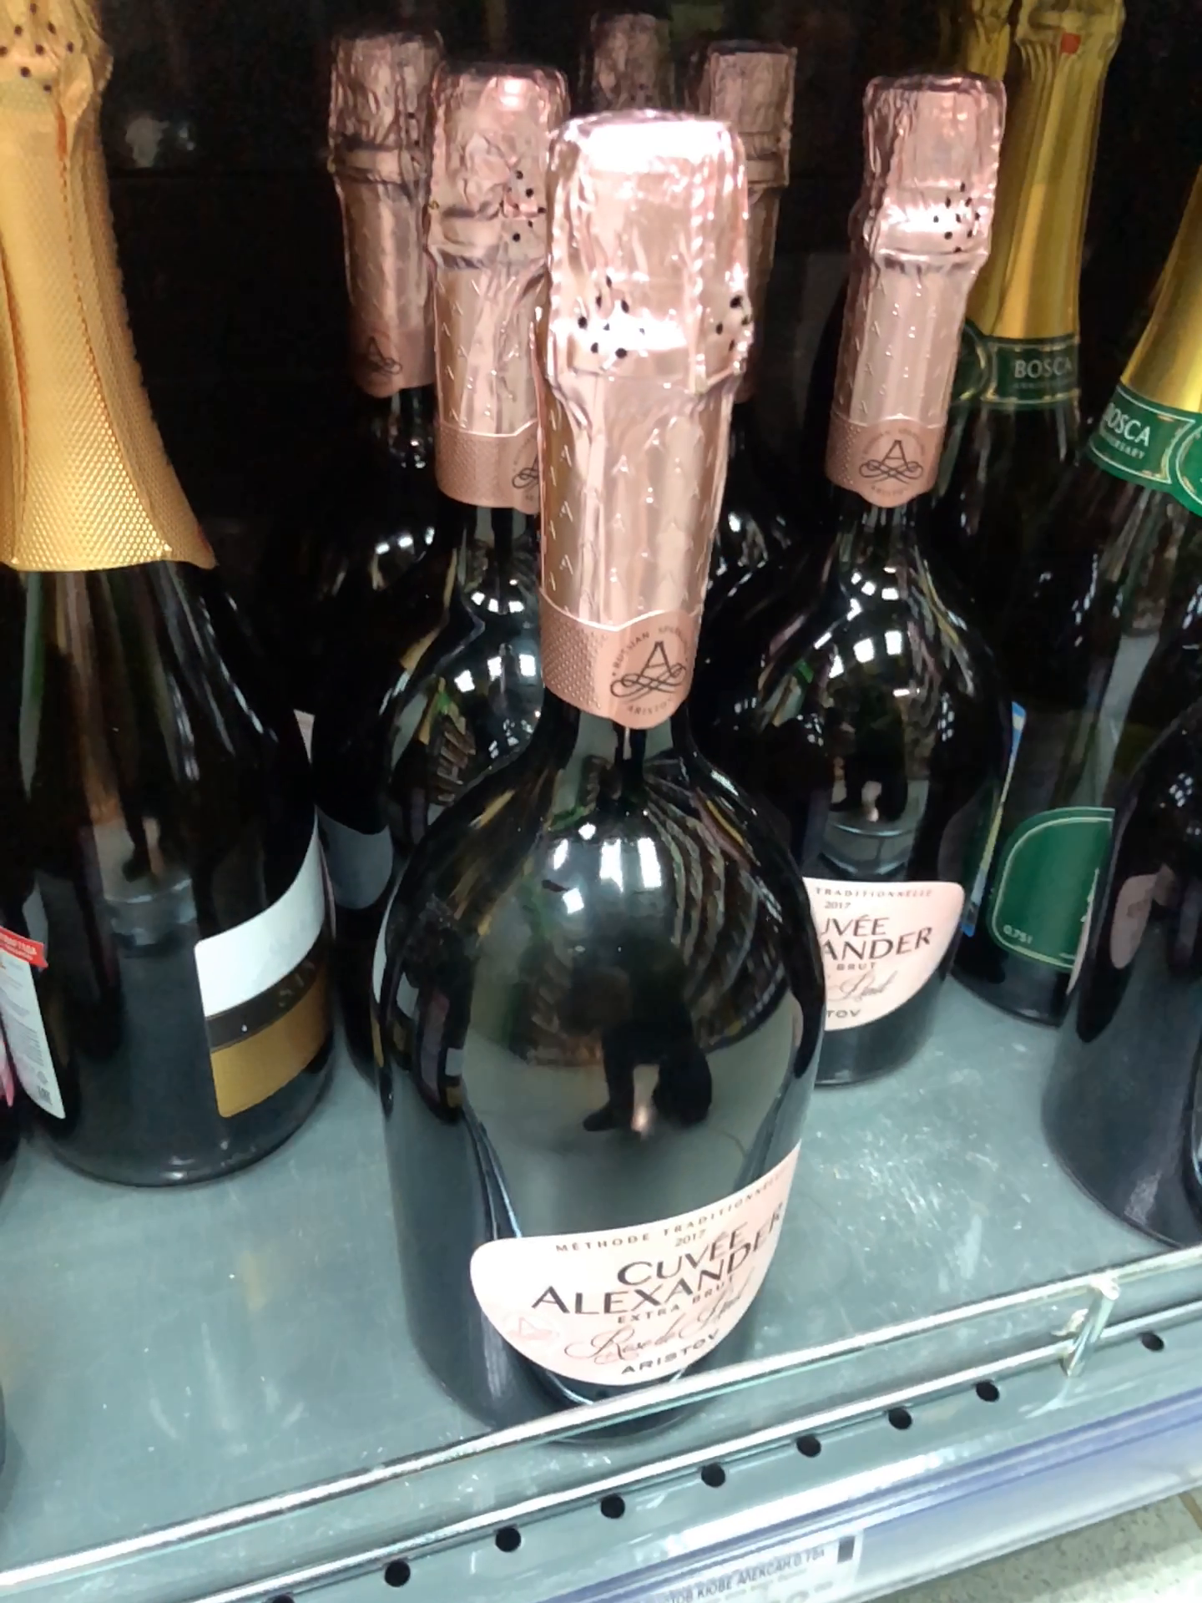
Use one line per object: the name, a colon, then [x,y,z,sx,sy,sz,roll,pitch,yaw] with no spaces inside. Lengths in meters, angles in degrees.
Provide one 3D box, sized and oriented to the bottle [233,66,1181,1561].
bottle: [0.004,0.015,0.270,0.110,0.278,0.090,-11,35,-21]
